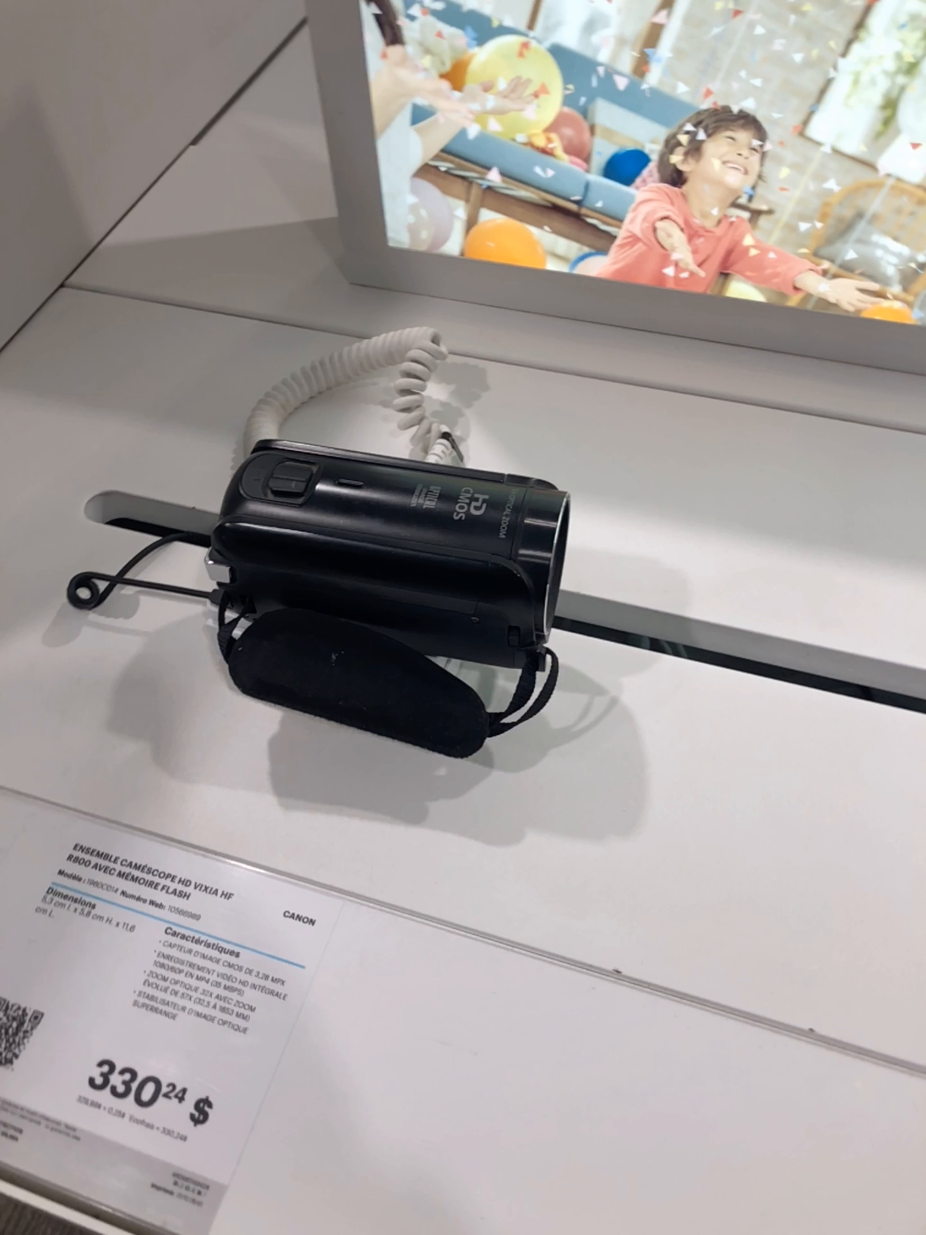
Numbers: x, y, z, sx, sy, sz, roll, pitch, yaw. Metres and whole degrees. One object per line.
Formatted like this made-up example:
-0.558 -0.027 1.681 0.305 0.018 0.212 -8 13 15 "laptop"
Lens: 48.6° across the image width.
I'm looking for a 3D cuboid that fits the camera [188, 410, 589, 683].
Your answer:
-0.021 -0.024 0.332 0.113 0.050 0.050 11 53 11 "camera"
